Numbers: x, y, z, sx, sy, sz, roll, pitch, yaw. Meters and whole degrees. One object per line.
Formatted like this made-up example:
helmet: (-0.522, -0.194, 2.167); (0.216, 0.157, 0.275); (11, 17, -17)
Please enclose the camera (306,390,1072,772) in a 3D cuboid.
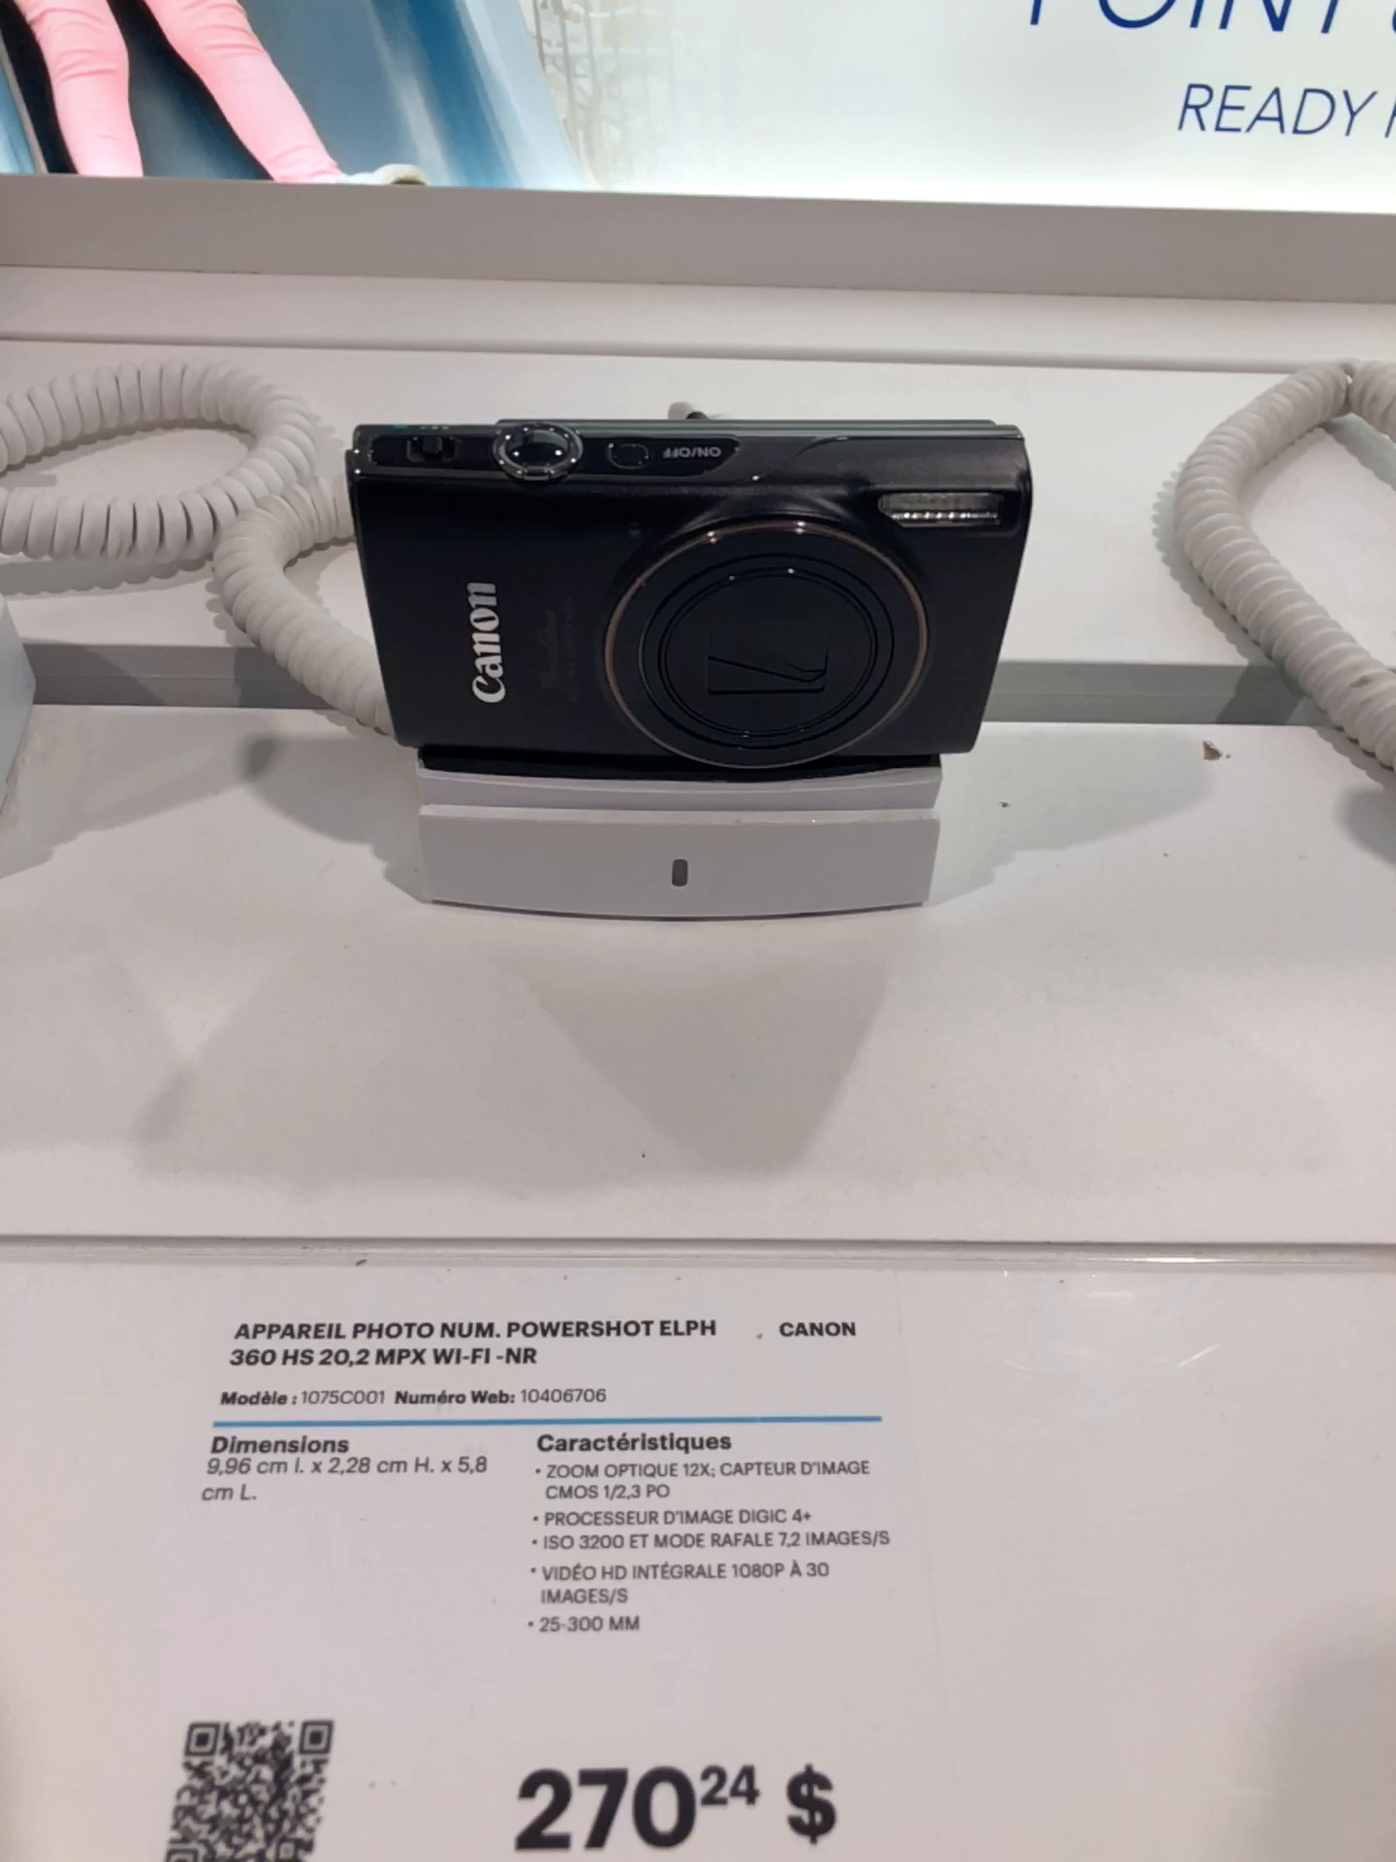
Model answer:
camera: (-0.002, -0.057, 0.258); (0.113, 0.057, 0.026); (-1, 47, -2)
